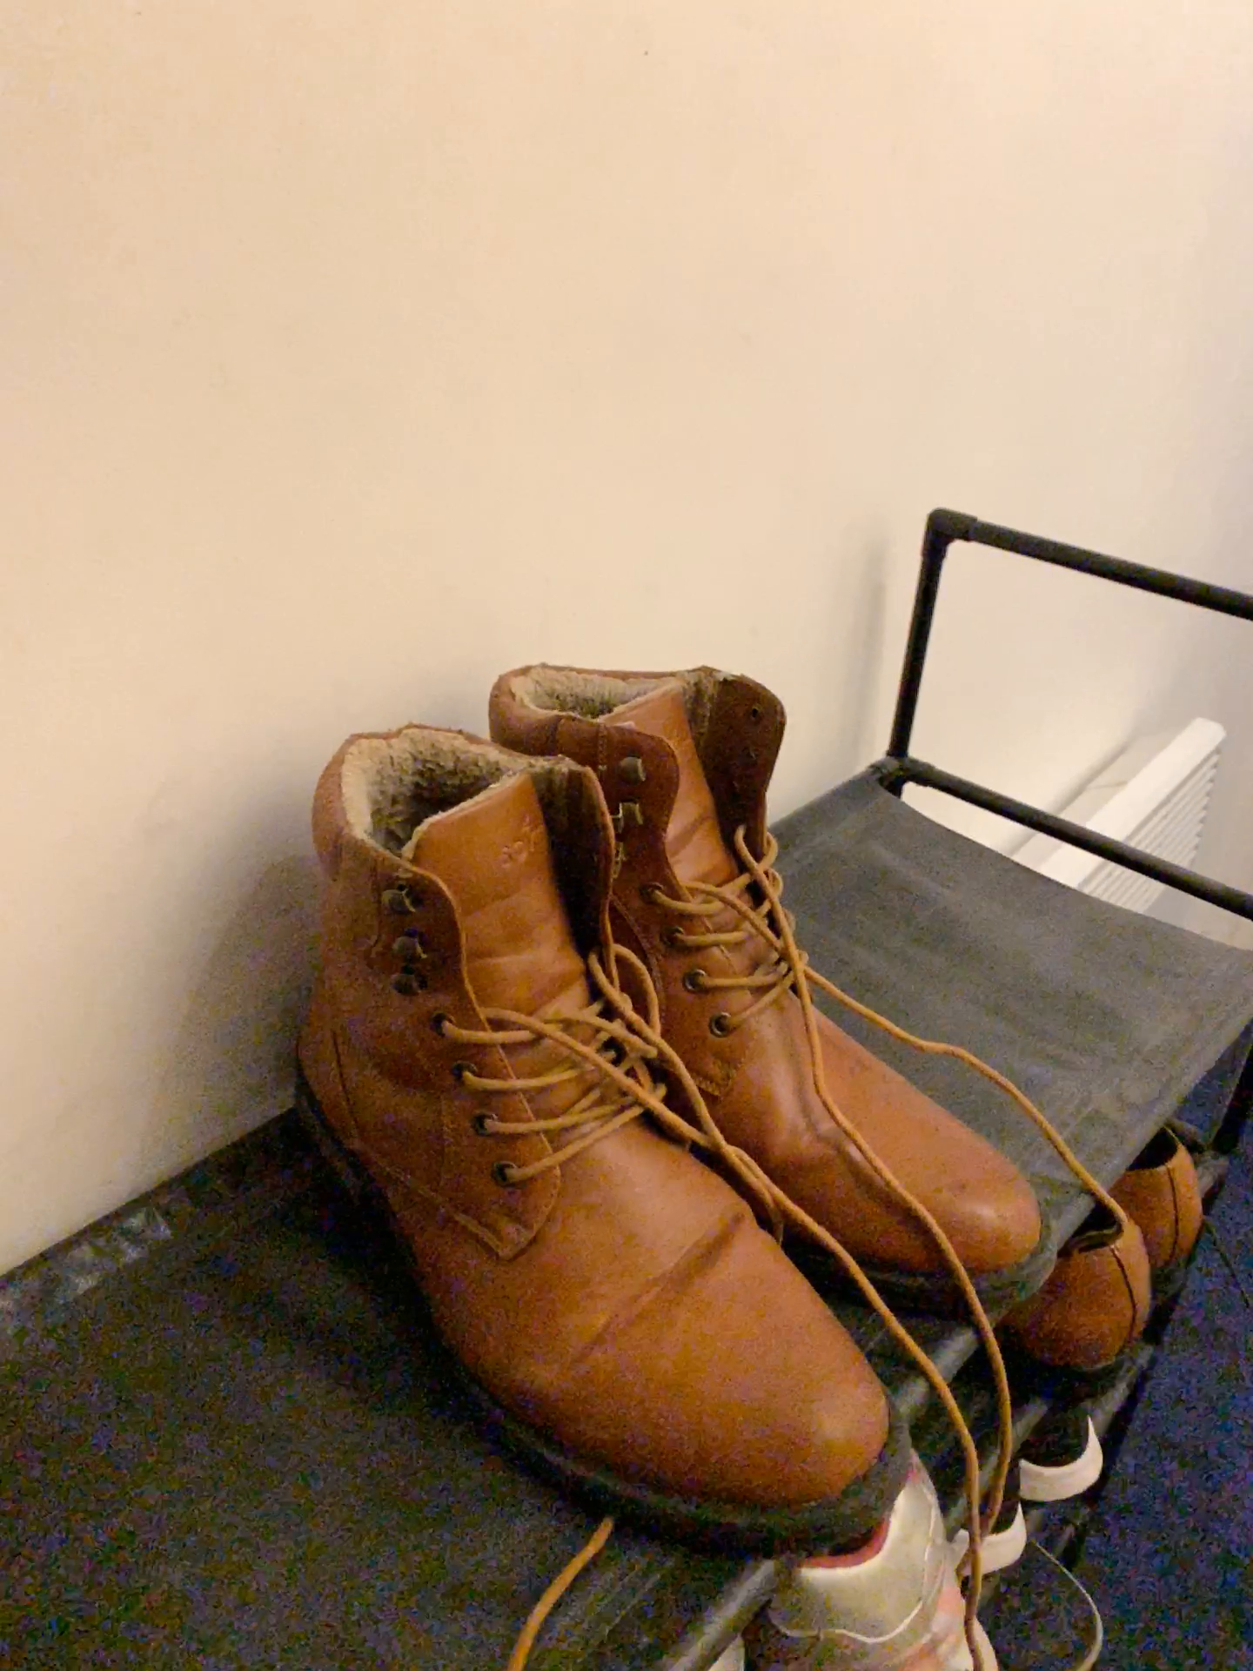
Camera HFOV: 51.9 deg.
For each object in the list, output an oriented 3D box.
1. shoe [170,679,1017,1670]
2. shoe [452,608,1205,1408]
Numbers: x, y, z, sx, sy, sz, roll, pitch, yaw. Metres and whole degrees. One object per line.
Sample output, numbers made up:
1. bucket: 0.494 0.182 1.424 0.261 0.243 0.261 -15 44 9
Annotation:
1. shoe: -0.030 0.094 0.444 0.111 0.198 0.271 -23 38 -37
2. shoe: 0.060 0.050 0.499 0.241 0.198 0.111 24 36 33
